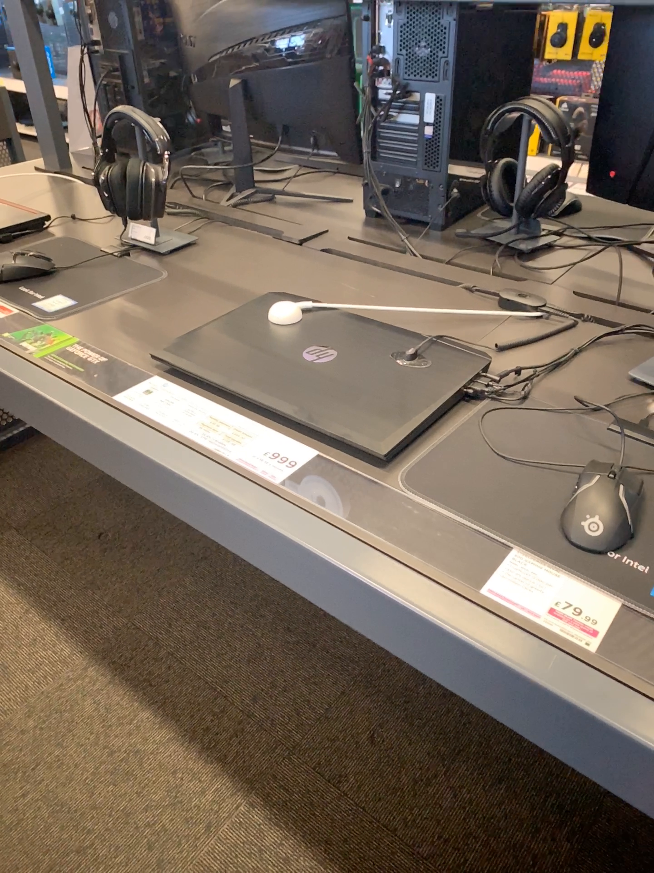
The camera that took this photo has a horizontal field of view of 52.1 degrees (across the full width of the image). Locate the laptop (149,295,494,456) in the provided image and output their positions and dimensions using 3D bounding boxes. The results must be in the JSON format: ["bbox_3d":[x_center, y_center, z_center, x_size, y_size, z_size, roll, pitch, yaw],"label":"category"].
[{"bbox_3d":[-0.013,-0.105,0.909,0.395,0.001,0.257,23,42,31],"label":"laptop"}]
